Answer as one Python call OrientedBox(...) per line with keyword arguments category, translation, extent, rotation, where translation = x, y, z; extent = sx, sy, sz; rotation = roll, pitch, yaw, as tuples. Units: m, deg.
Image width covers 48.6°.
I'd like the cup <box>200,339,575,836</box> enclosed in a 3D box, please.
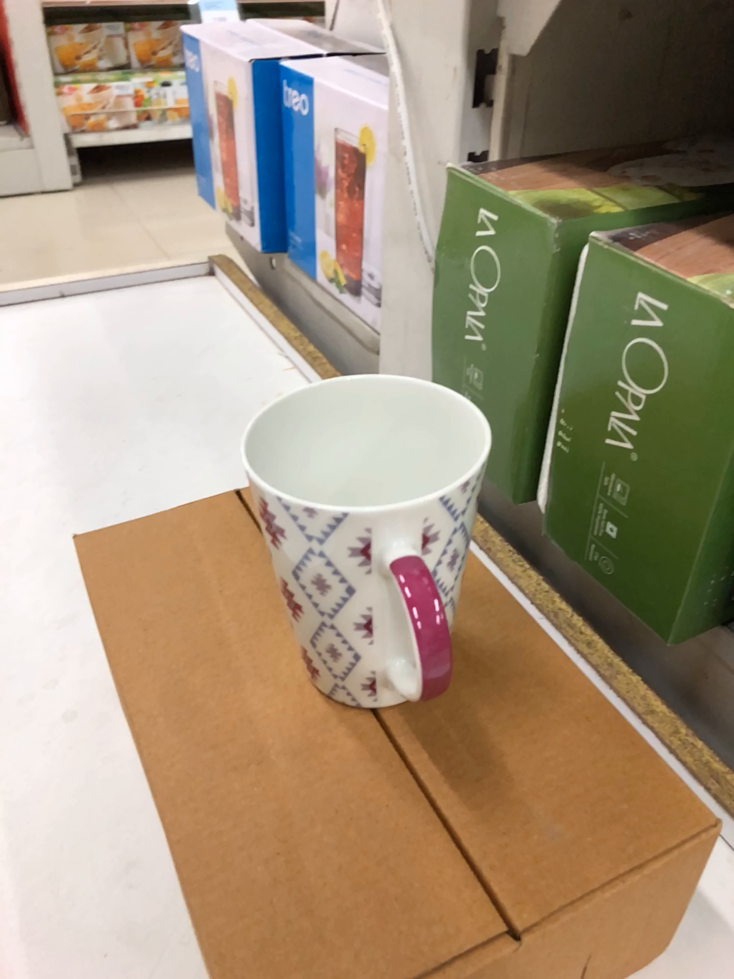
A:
OrientedBox(category="cup", translation=(-0.003, 0.025, 0.275), extent=(0.080, 0.099, 0.121), rotation=(-9, 37, -14))
